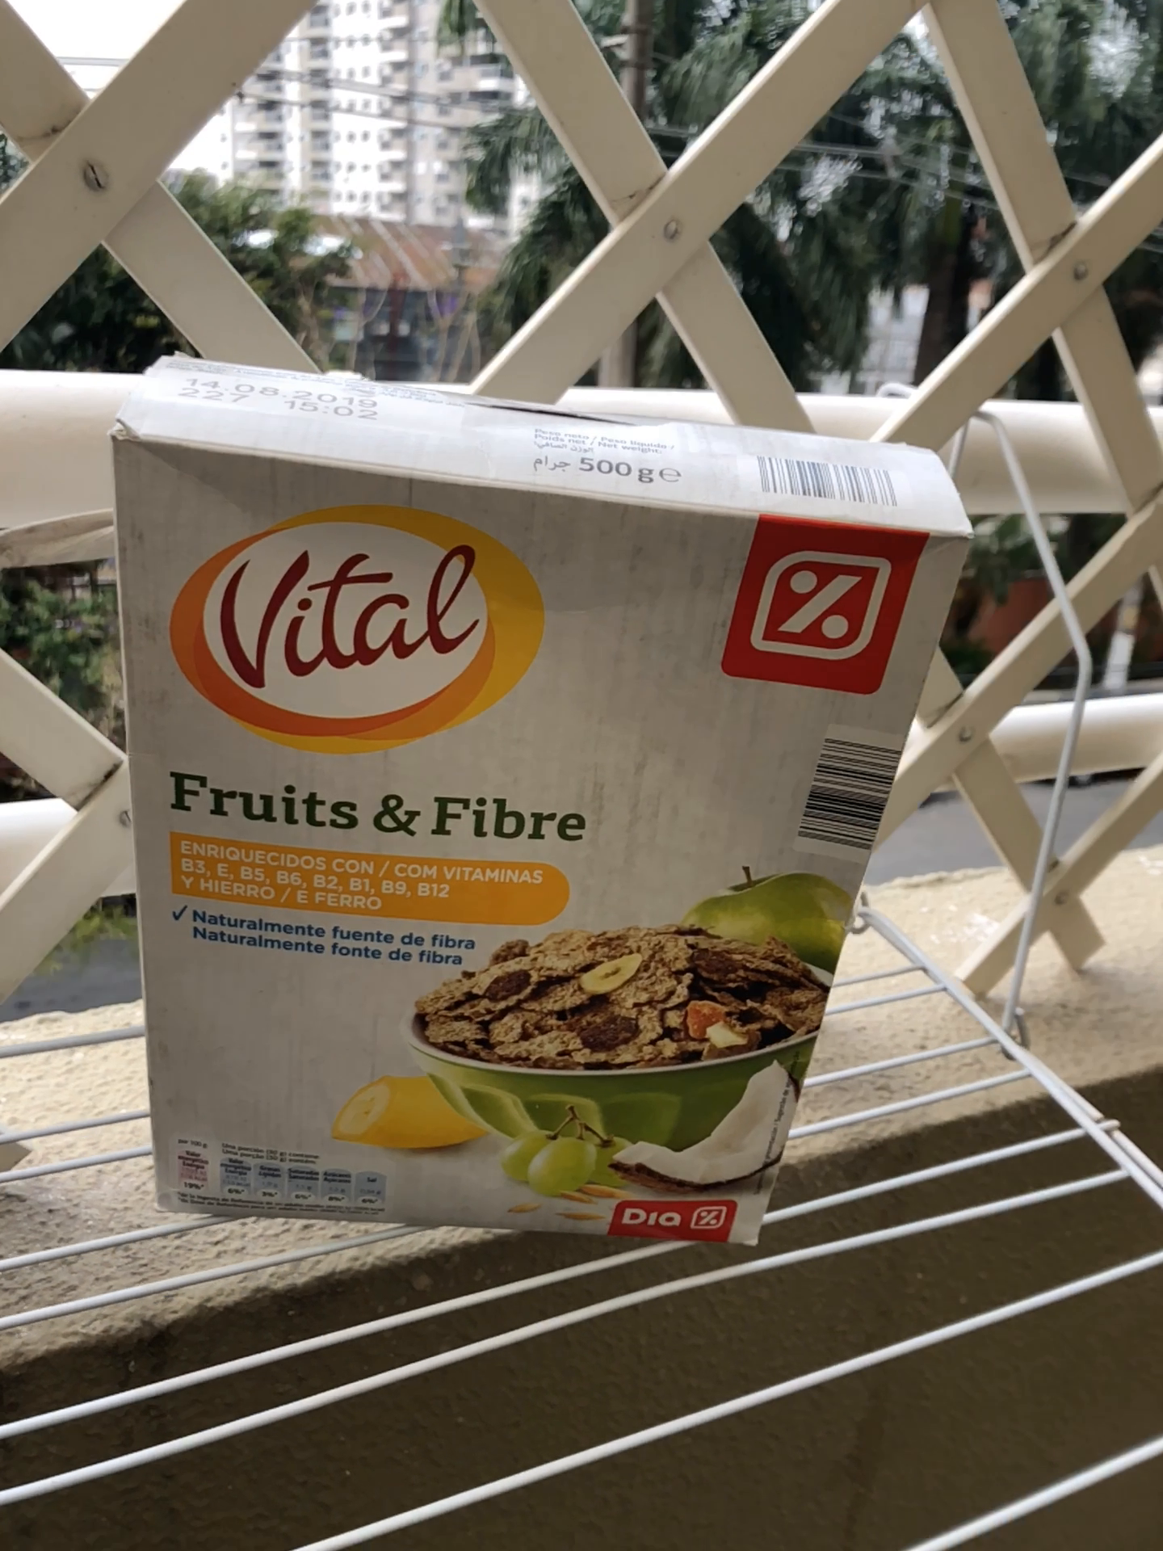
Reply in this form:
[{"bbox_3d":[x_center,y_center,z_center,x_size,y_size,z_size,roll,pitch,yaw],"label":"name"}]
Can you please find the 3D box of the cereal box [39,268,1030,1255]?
[{"bbox_3d":[-0.023,0.014,0.372,0.210,0.268,0.071,5,32,-4],"label":"cereal box"}]
